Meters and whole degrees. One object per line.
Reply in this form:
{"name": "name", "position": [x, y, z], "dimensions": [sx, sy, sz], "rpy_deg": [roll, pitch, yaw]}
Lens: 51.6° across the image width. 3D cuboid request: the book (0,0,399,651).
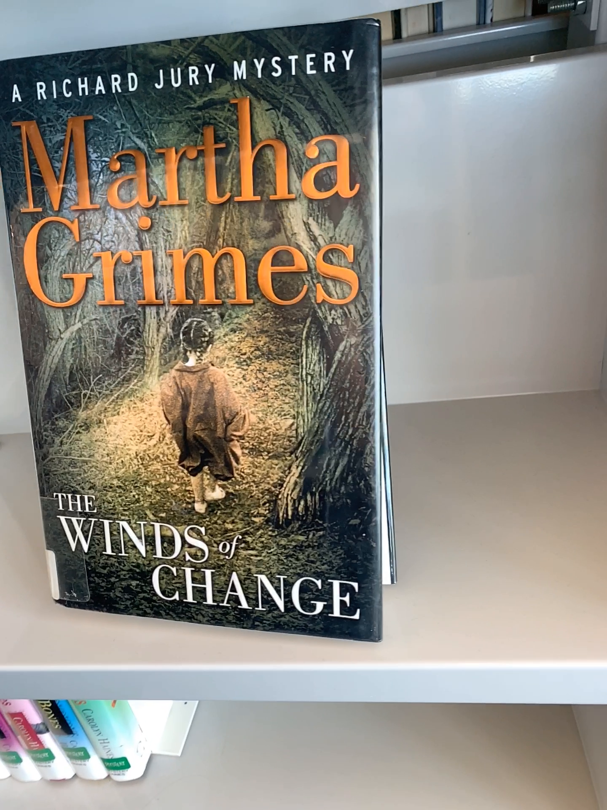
{"name": "book", "position": [-0.042, -0.025, 0.277], "dimensions": [0.160, 0.244, 0.050], "rpy_deg": [1, 12, 15]}
